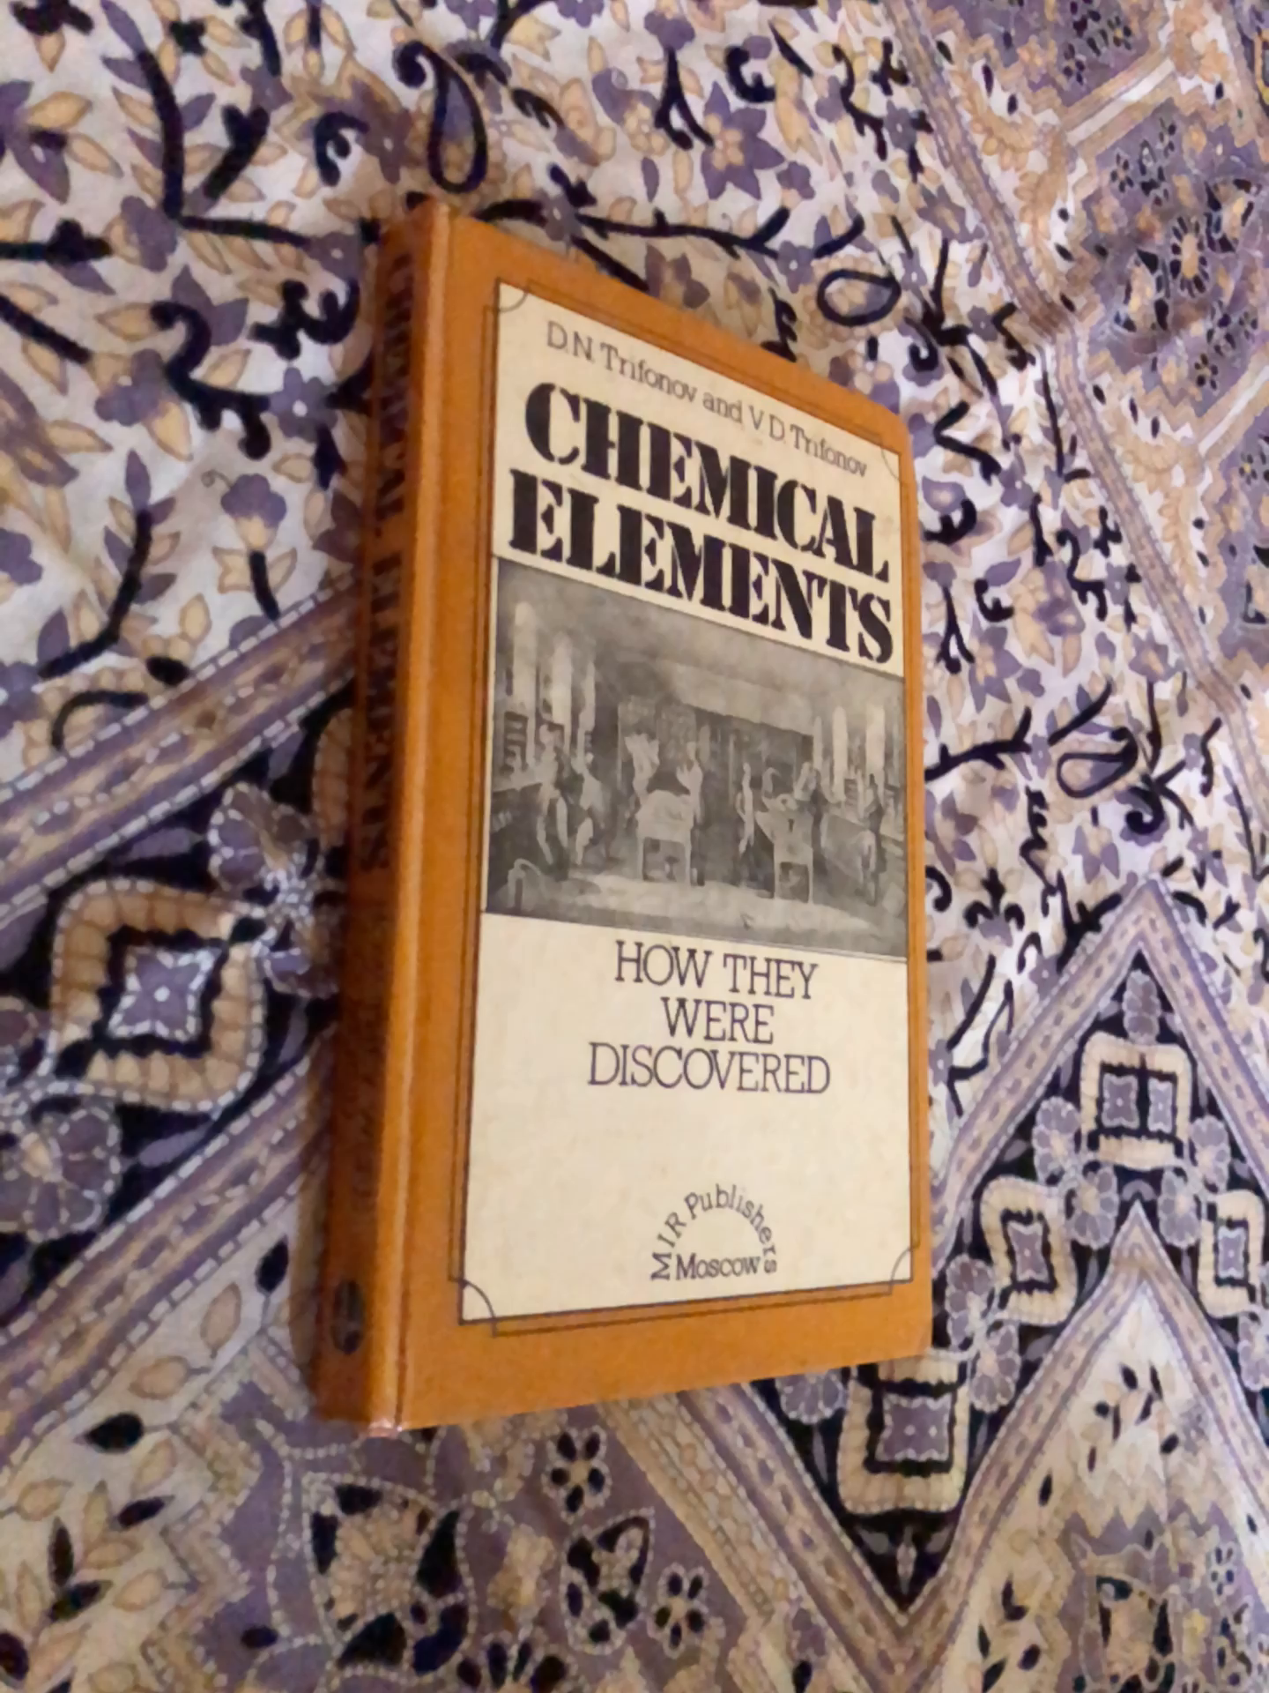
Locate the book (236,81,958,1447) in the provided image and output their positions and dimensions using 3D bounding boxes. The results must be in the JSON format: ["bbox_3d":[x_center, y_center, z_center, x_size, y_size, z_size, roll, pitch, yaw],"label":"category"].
[{"bbox_3d":[0.003,-0.012,0.275,0.141,0.030,0.220,10,76,-38],"label":"book"}]
